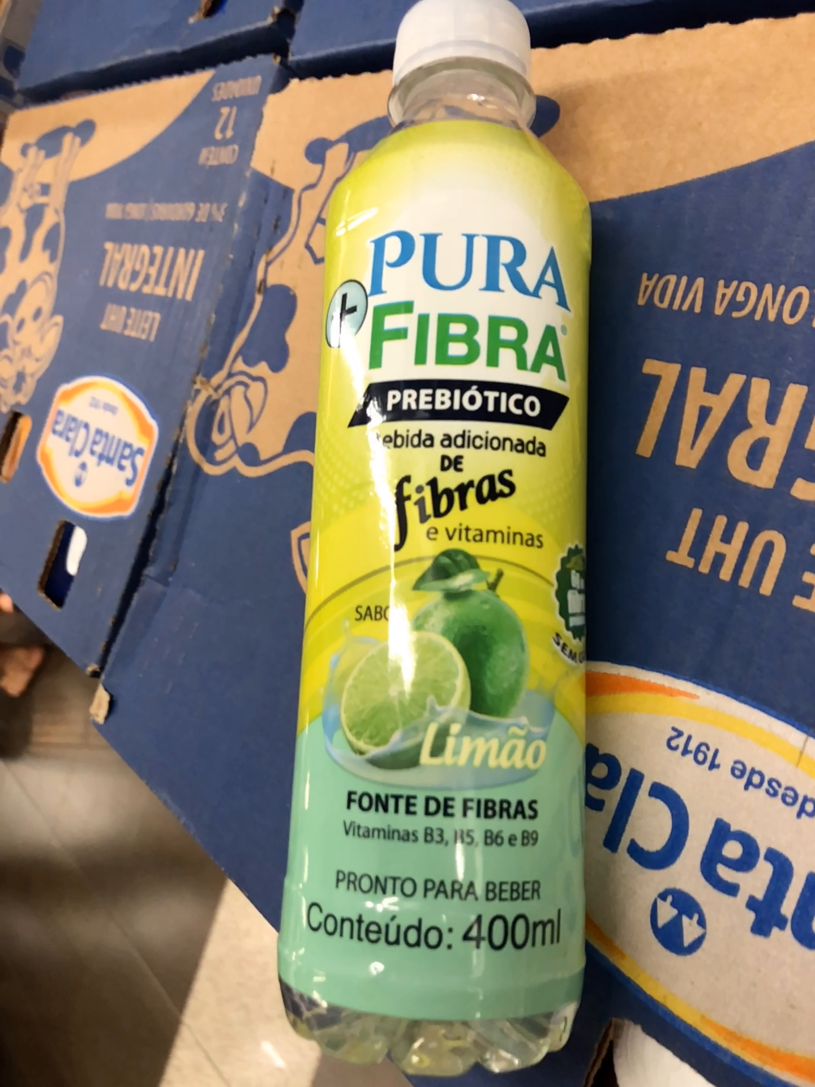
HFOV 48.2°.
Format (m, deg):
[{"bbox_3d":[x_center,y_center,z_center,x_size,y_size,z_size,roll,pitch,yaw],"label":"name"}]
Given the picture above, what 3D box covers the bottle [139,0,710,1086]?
[{"bbox_3d":[0.011,-0.027,0.186,0.070,0.060,0.250,-7,71,45],"label":"bottle"}]
